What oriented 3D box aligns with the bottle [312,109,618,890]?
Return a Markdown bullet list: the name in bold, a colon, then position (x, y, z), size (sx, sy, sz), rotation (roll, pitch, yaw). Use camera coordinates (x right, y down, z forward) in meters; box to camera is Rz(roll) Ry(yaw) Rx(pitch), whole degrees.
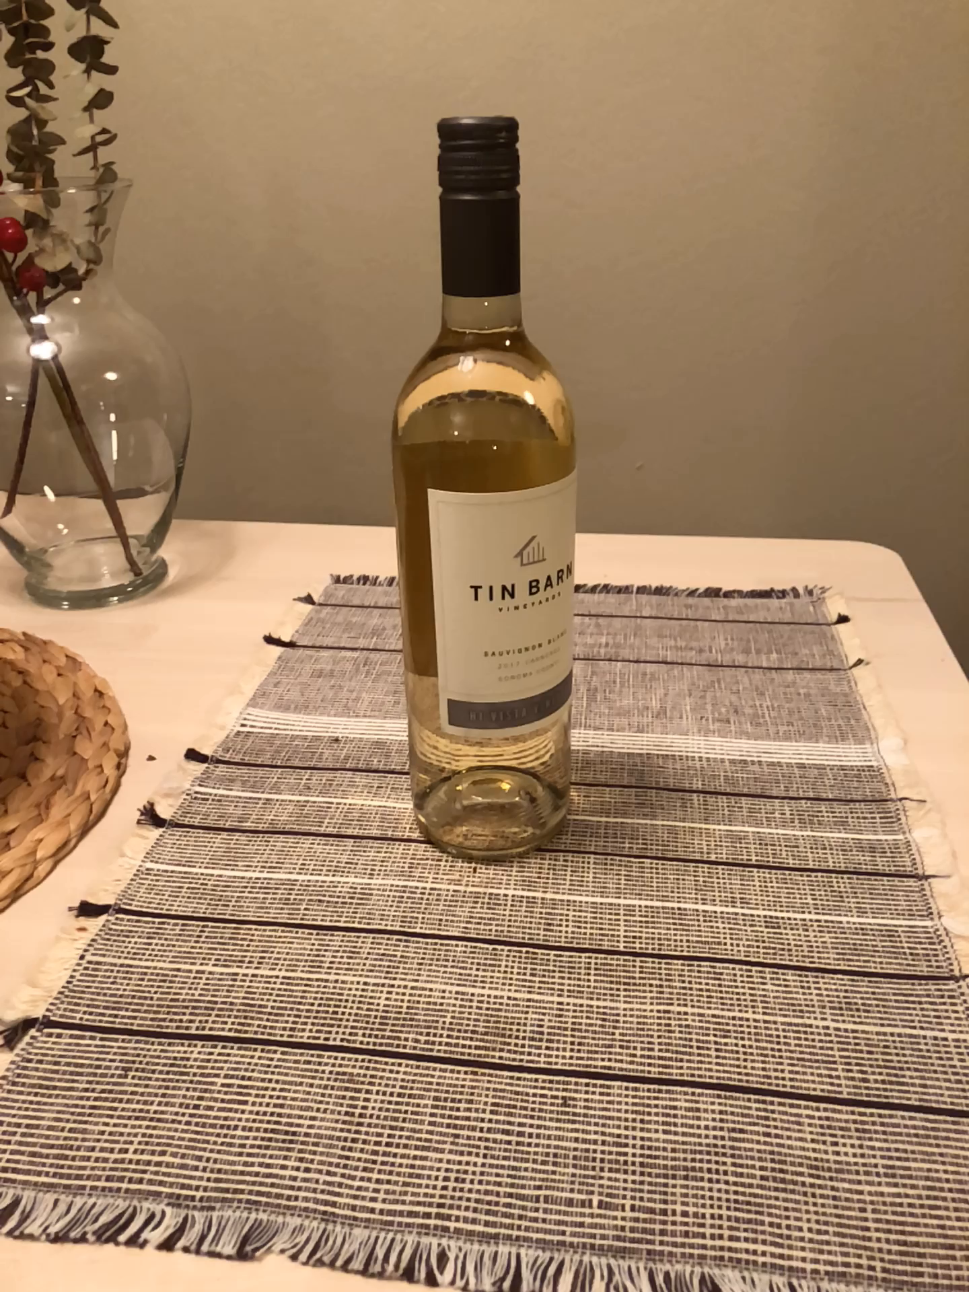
- **bottle**: position (-0.006, -0.055, 0.444), size (0.080, 0.298, 0.080), rotation (-1, 25, 1)
